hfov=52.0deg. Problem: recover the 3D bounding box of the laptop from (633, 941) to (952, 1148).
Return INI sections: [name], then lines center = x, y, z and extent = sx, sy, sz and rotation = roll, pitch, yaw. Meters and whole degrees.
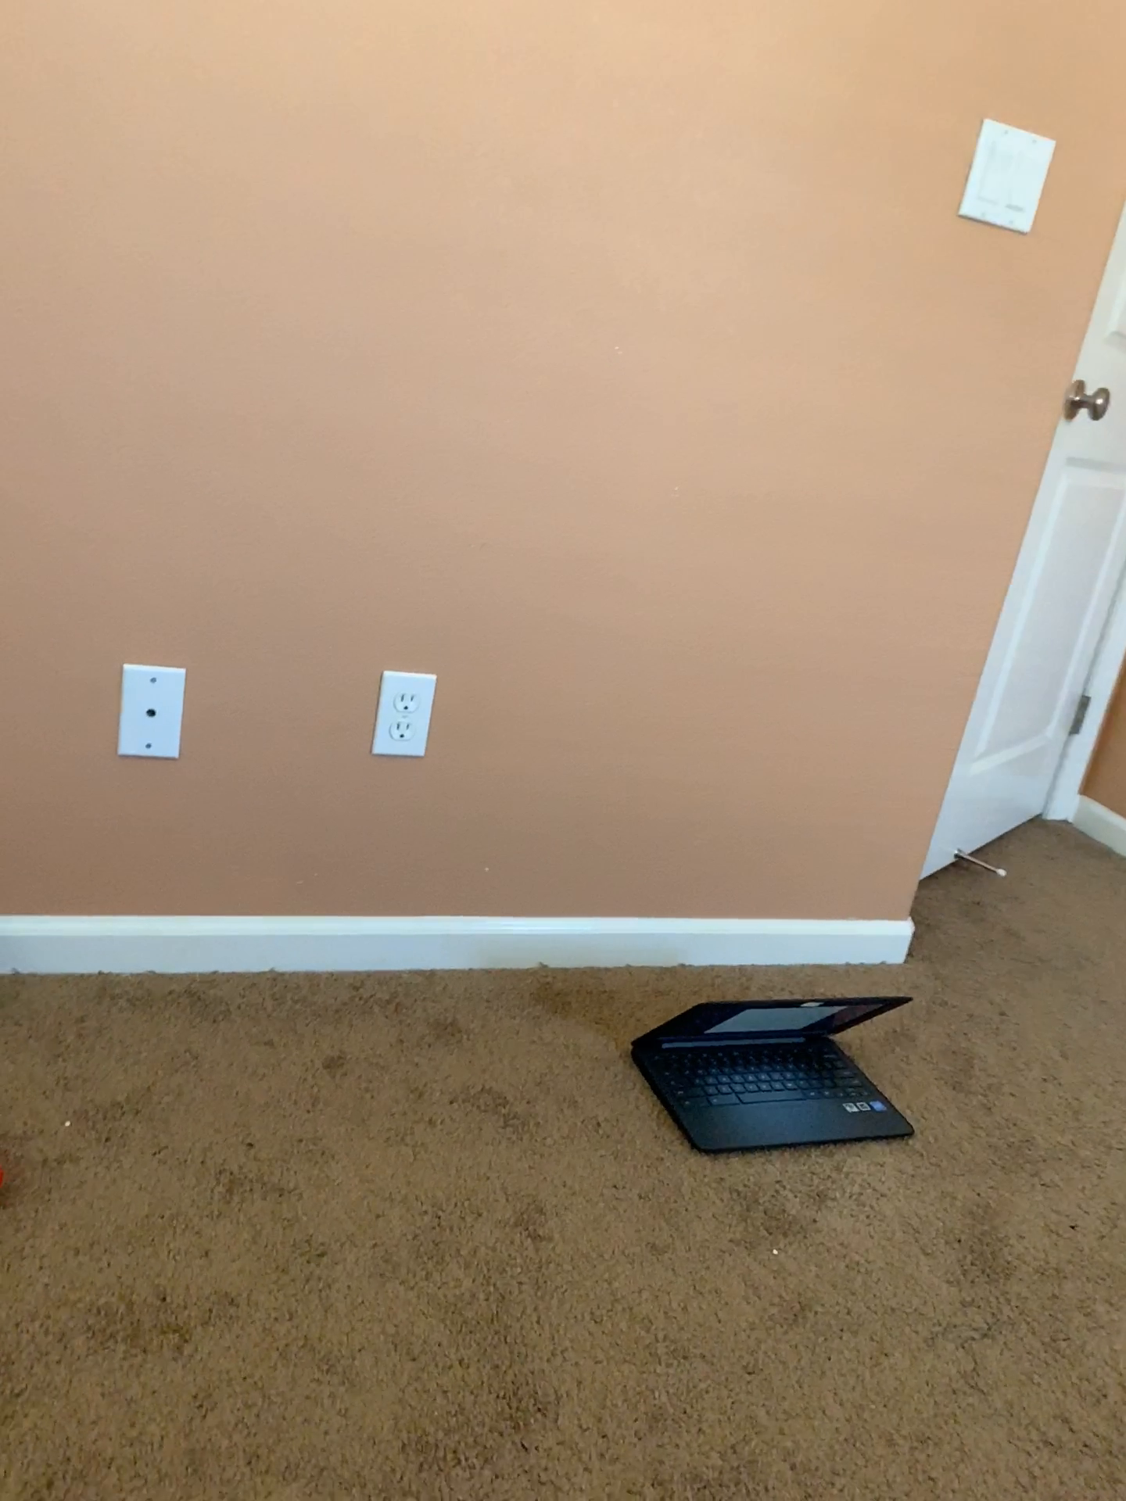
[laptop]
center = 0.268, 0.342, 1.379
extent = 0.292, 0.140, 0.192
rotation = 4, 20, -22
